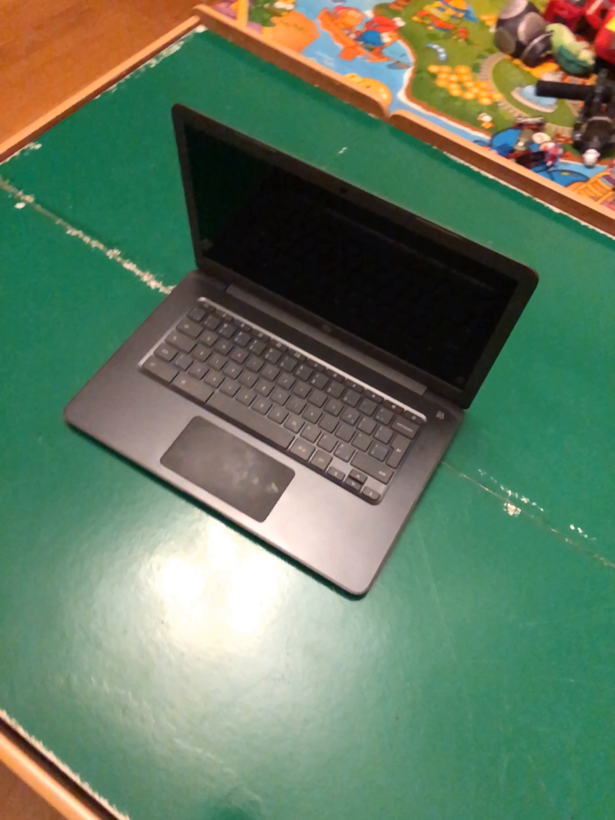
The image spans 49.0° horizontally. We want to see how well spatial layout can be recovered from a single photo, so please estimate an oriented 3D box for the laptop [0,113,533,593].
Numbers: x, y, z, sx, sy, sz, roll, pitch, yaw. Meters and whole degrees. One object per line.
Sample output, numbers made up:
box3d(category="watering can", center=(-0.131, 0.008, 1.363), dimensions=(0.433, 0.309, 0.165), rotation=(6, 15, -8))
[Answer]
box3d(category="laptop", center=(-0.034, -0.047, 0.570), dimensions=(0.317, 0.204, 0.211), rotation=(29, 62, 13))
